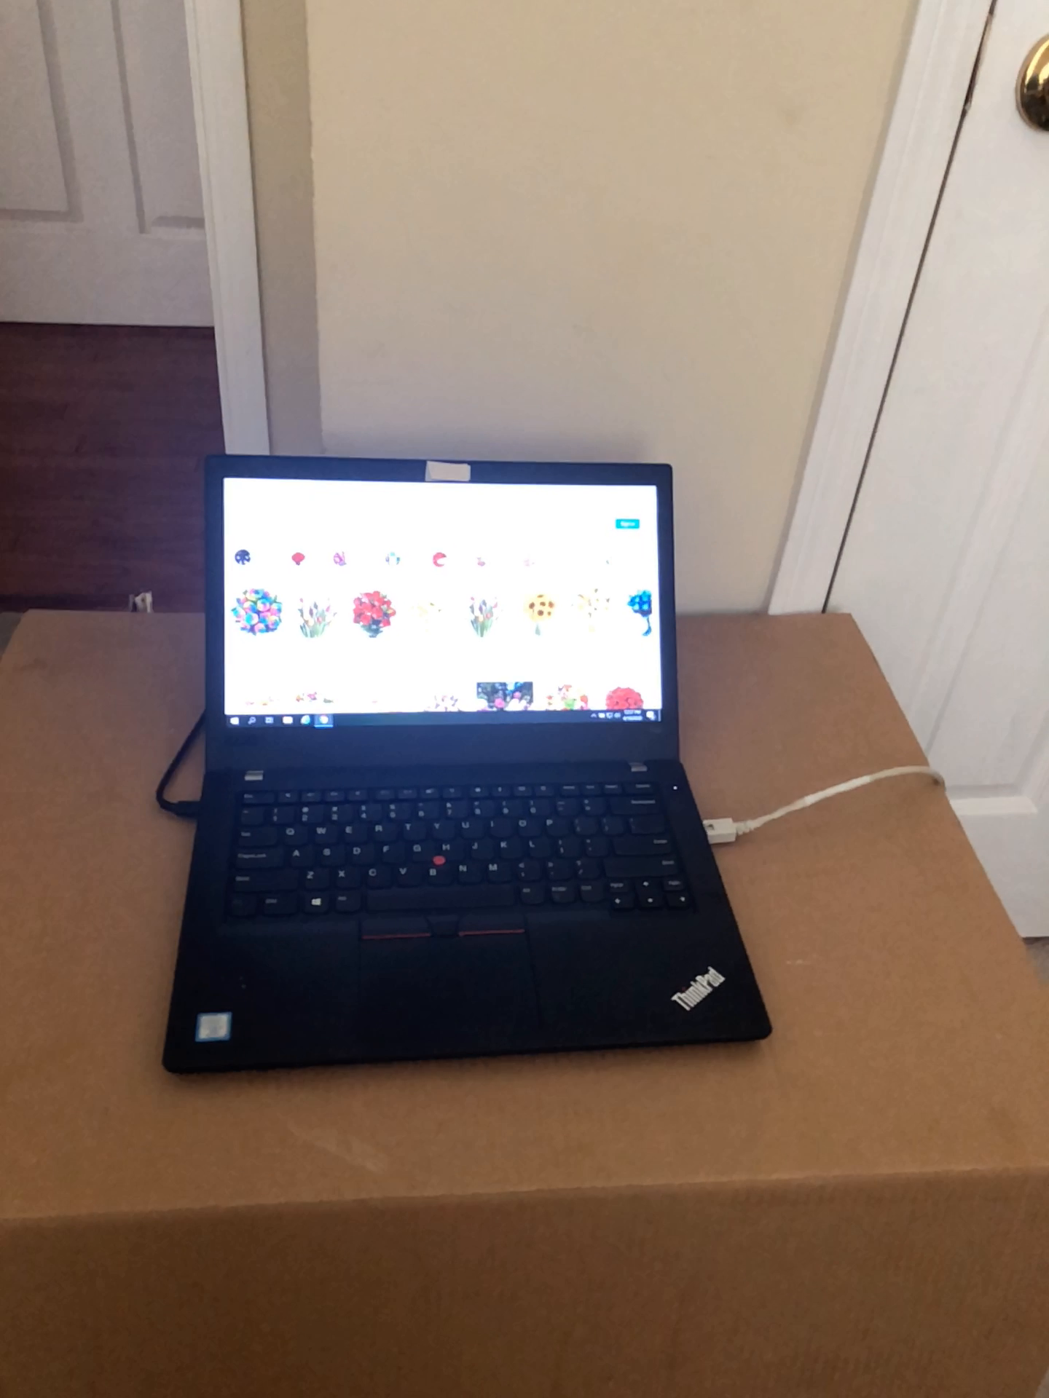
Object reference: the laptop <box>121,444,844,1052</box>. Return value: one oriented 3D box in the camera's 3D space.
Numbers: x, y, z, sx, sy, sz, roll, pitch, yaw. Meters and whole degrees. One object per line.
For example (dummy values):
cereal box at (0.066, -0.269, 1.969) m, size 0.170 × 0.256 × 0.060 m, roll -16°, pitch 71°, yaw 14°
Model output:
laptop at (-0.039, 0.004, 0.698) m, size 0.322 × 0.158 × 0.366 m, roll 0°, pitch 38°, yaw -8°
